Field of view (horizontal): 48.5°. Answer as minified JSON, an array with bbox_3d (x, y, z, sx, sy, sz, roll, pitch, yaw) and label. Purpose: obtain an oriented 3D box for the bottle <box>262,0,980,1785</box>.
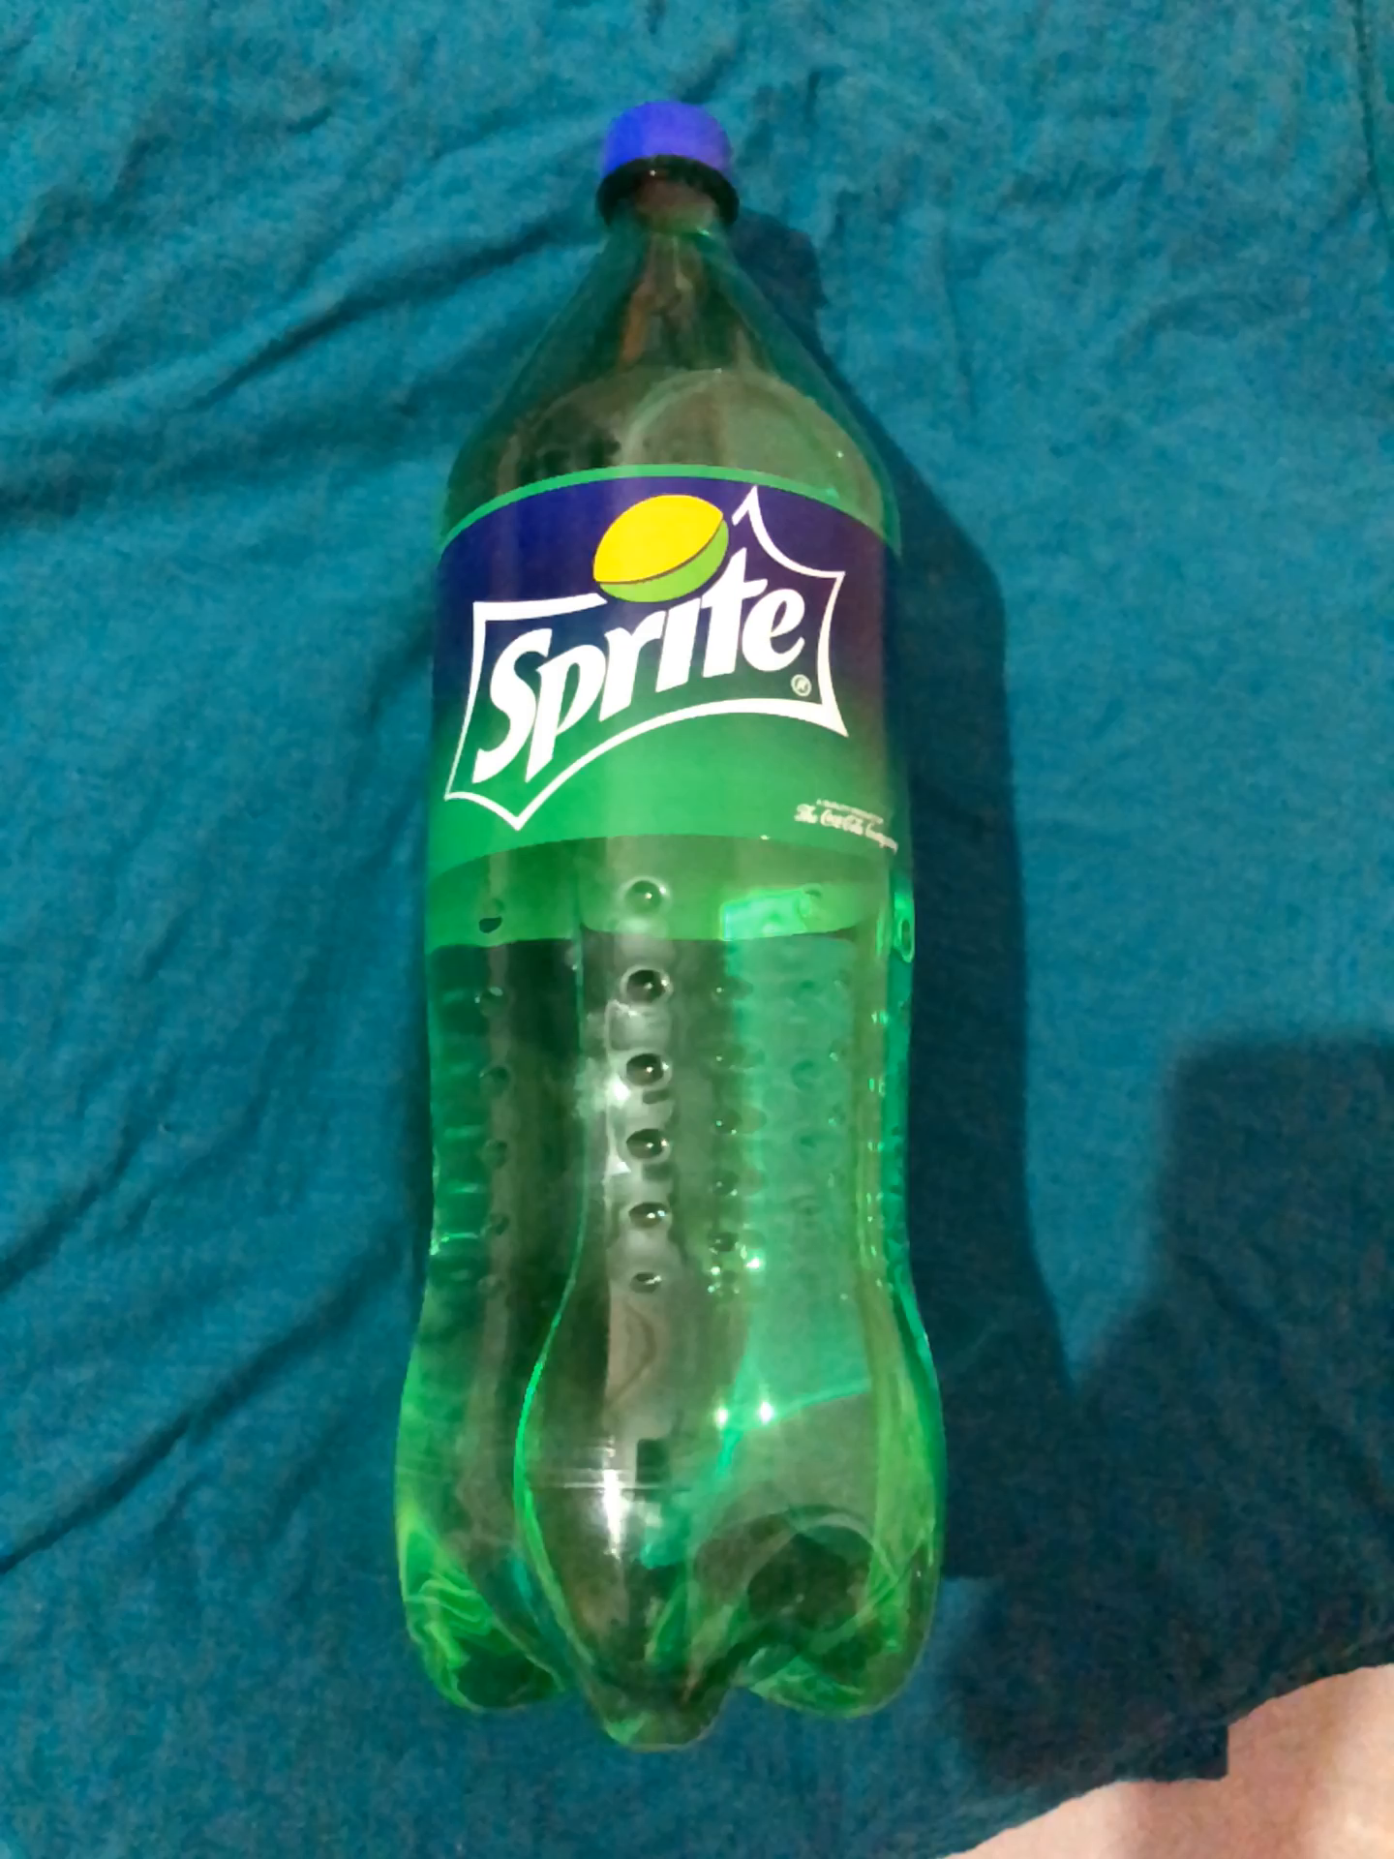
[{"bbox_3d":[-0.013,-0.027,0.301,0.110,0.070,0.330,1,80,-6],"label":"bottle"}]
